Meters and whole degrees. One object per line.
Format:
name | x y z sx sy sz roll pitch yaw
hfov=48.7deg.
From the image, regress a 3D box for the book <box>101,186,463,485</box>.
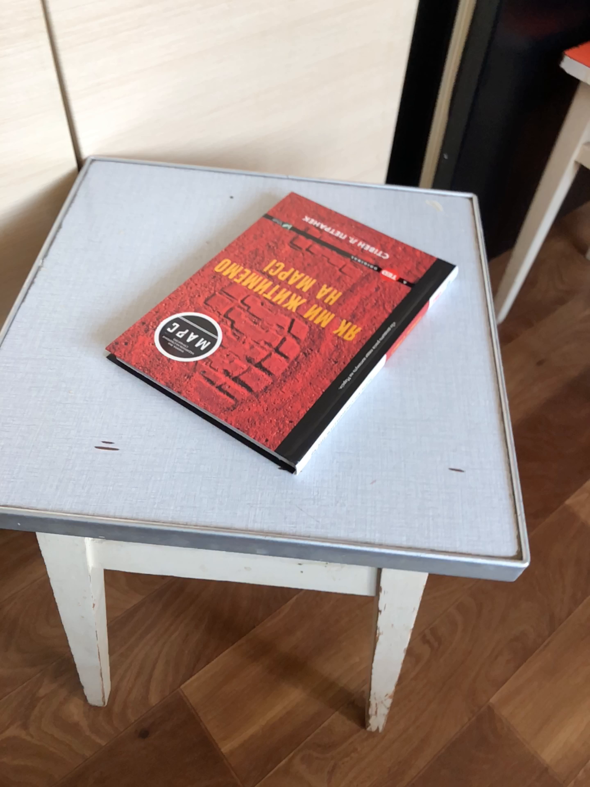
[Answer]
book | 0.000 -0.056 0.444 0.150 0.020 0.209 30 56 18
